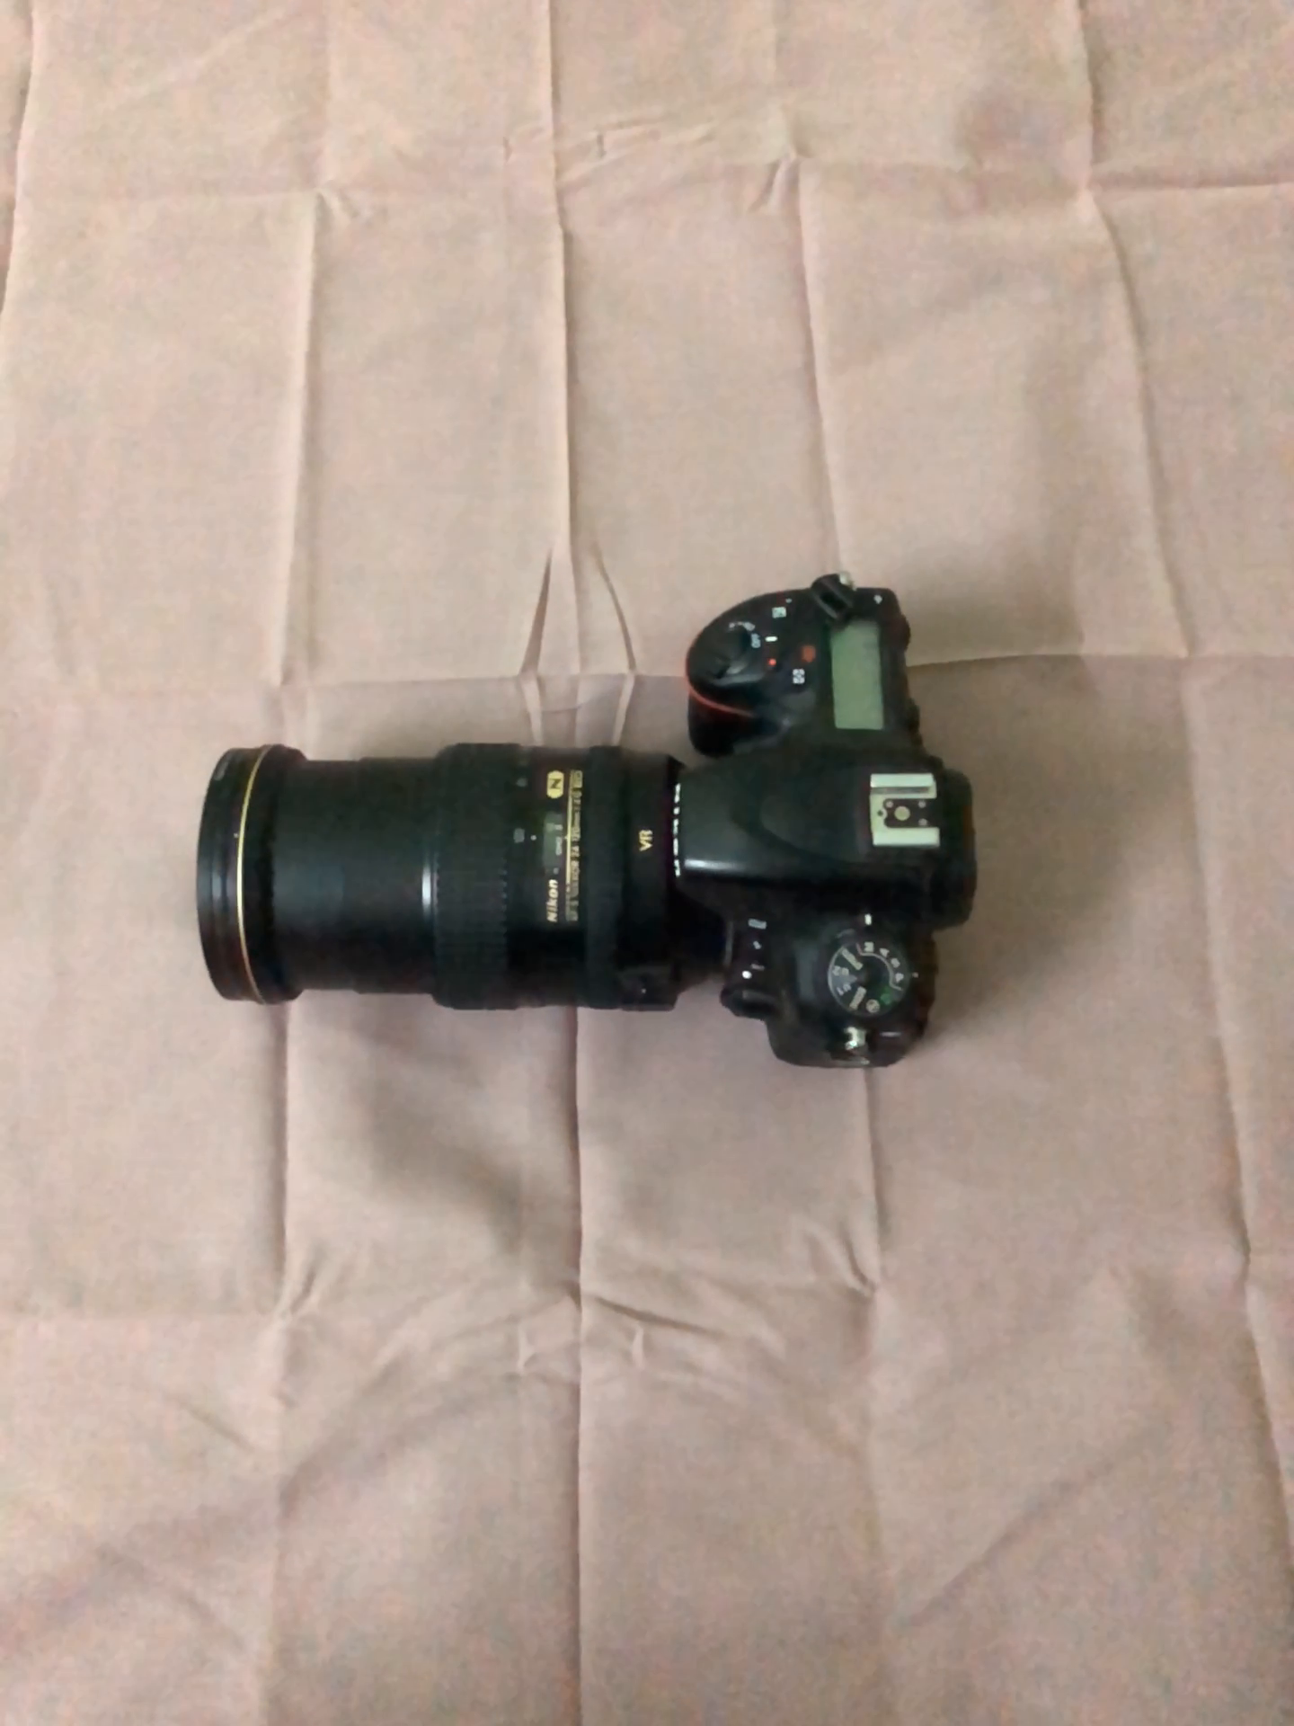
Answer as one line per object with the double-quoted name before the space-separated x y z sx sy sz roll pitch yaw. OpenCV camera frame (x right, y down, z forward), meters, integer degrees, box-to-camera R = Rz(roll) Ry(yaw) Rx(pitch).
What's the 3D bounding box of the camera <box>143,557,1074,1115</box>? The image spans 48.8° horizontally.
"camera" -0.010 -0.001 0.427 0.231 0.110 0.139 0 73 -1
